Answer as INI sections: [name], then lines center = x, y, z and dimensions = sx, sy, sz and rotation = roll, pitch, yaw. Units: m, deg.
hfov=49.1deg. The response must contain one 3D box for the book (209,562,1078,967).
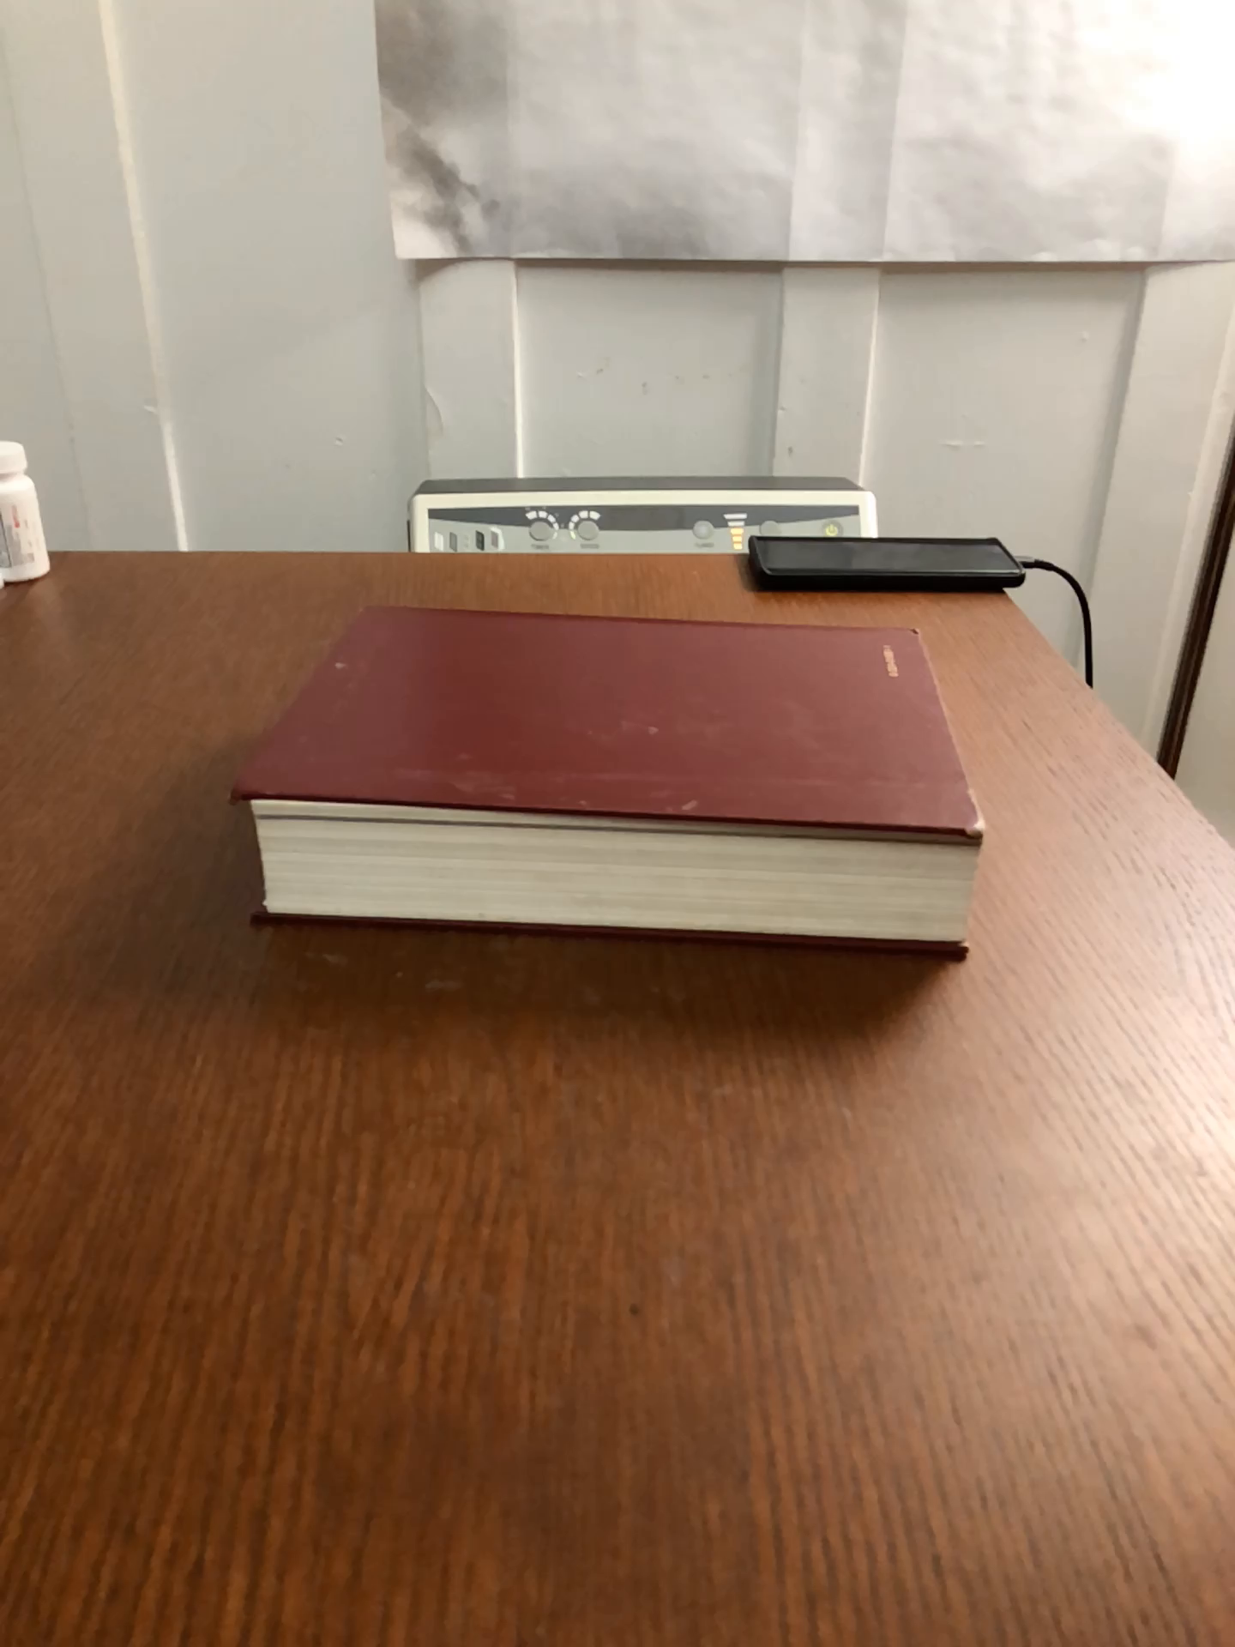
[book]
center = 0.014, -0.038, 0.564
dimensions = 0.290, 0.070, 0.221
rotation = 2, 28, 4
